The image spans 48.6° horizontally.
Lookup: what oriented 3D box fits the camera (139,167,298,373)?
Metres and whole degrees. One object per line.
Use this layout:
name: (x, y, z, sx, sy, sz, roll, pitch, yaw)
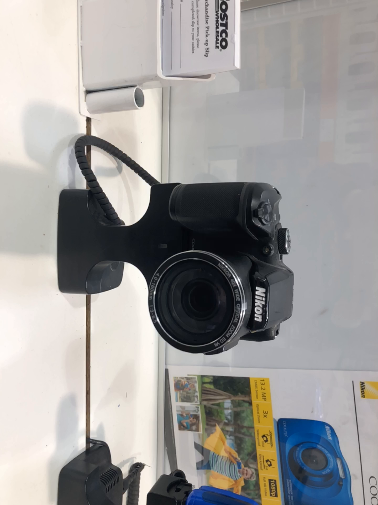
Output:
camera: (0.027, 0.006, 0.295, 0.101, 0.079, 0.116, -12, 103, -65)
